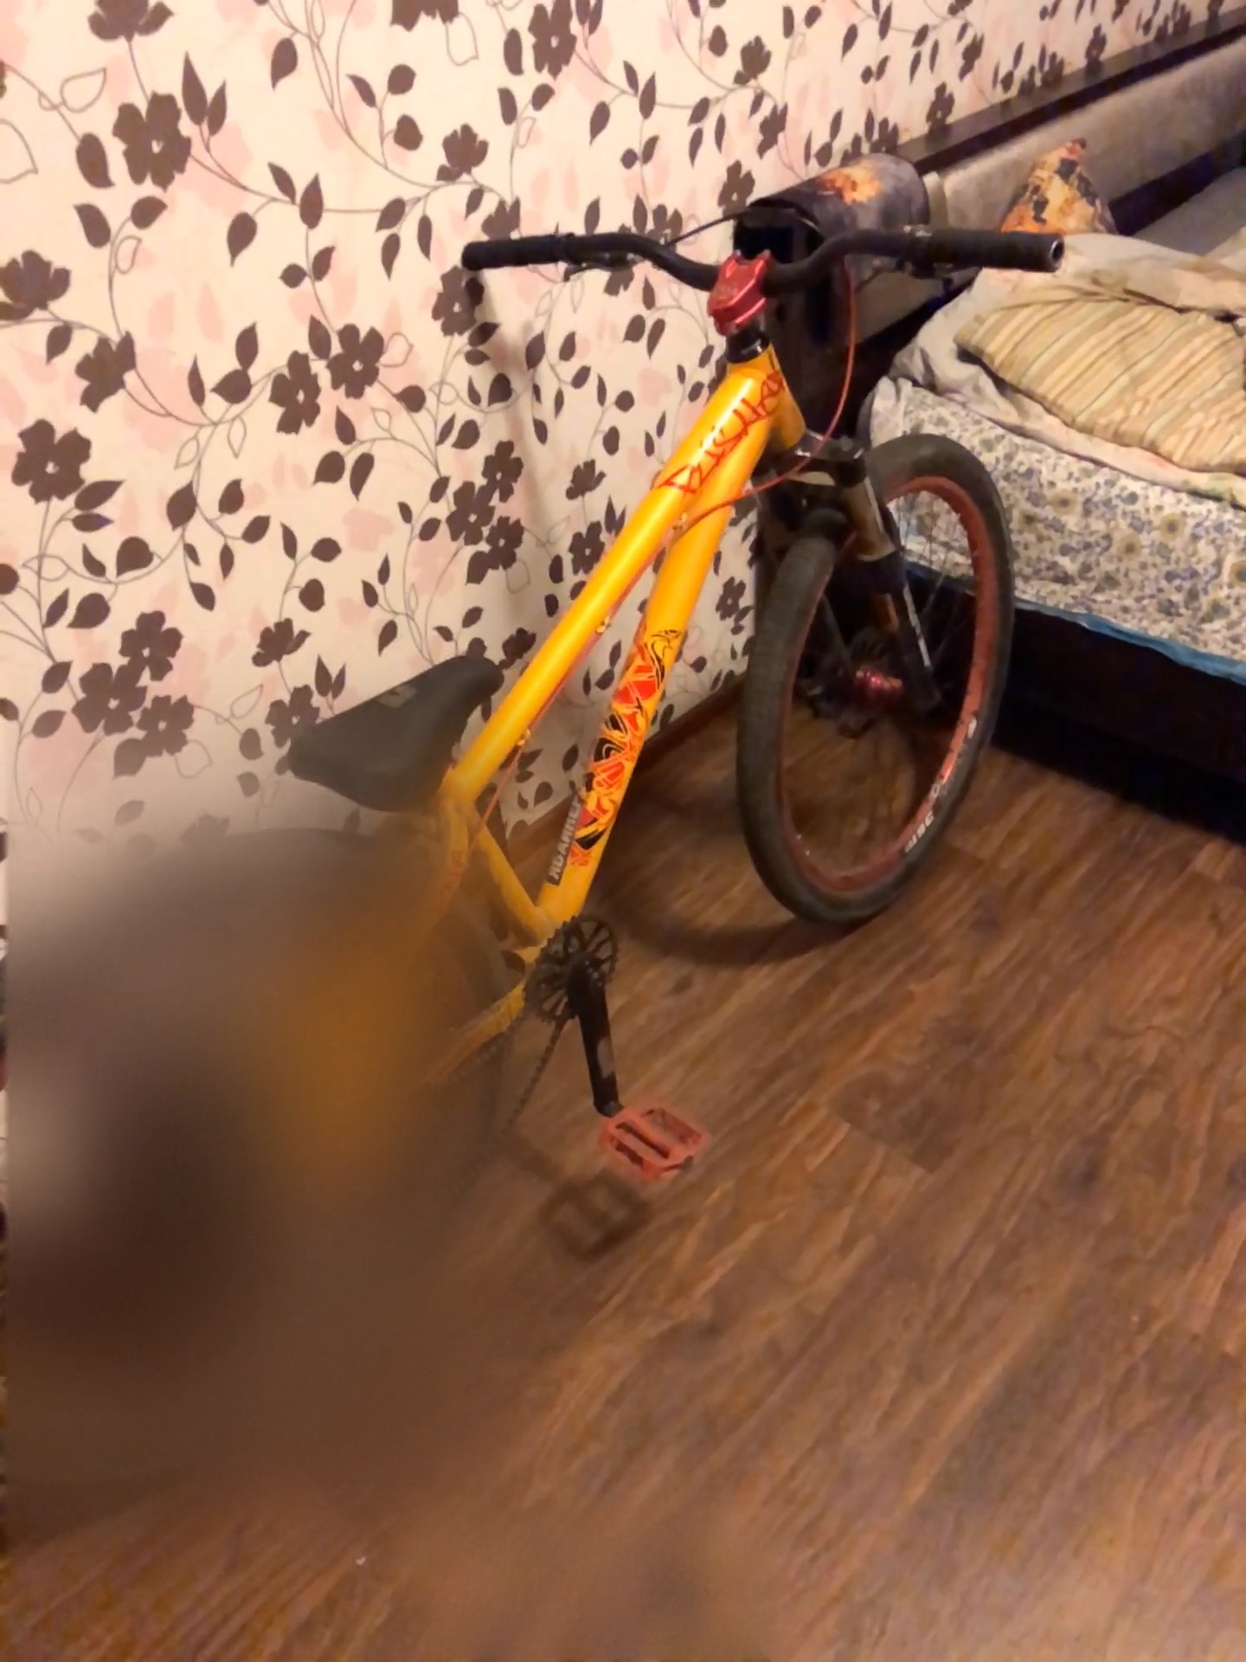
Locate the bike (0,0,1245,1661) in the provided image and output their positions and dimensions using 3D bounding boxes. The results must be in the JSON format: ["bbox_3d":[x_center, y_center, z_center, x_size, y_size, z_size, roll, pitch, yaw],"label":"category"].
[{"bbox_3d":[-0.019,-0.102,1.432,0.662,1.005,1.679,30,52,33],"label":"bike"}]
